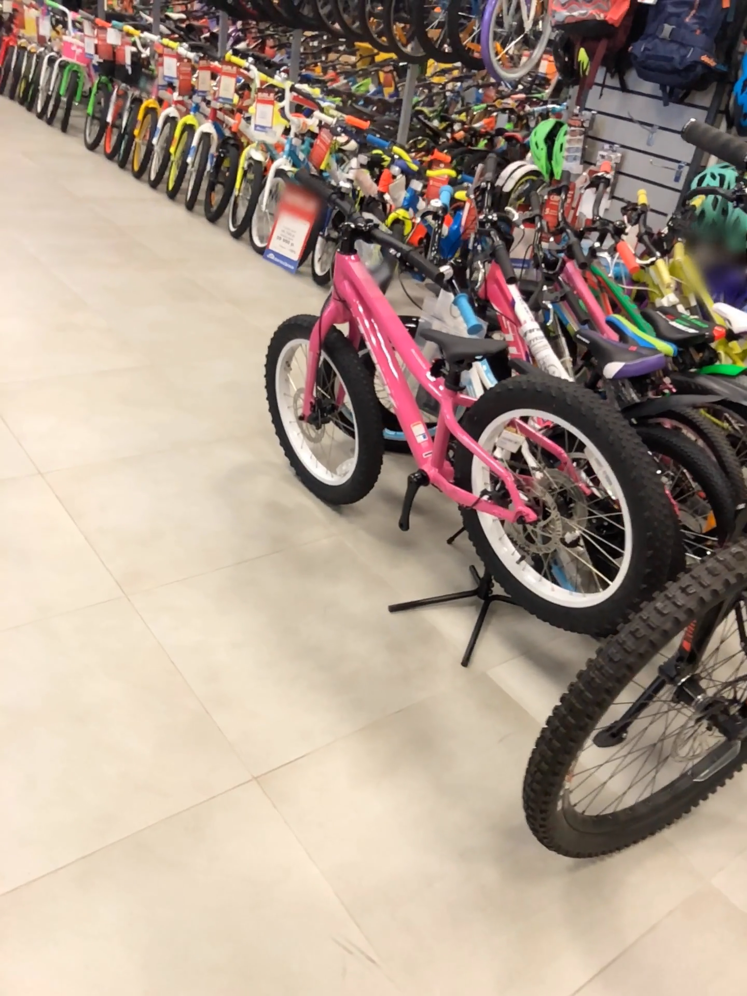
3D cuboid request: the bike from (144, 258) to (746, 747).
[{"bbox_3d":[0.027,-0.127,1.888,0.572,0.669,1.337,-12,29,-34],"label":"bike"}]
